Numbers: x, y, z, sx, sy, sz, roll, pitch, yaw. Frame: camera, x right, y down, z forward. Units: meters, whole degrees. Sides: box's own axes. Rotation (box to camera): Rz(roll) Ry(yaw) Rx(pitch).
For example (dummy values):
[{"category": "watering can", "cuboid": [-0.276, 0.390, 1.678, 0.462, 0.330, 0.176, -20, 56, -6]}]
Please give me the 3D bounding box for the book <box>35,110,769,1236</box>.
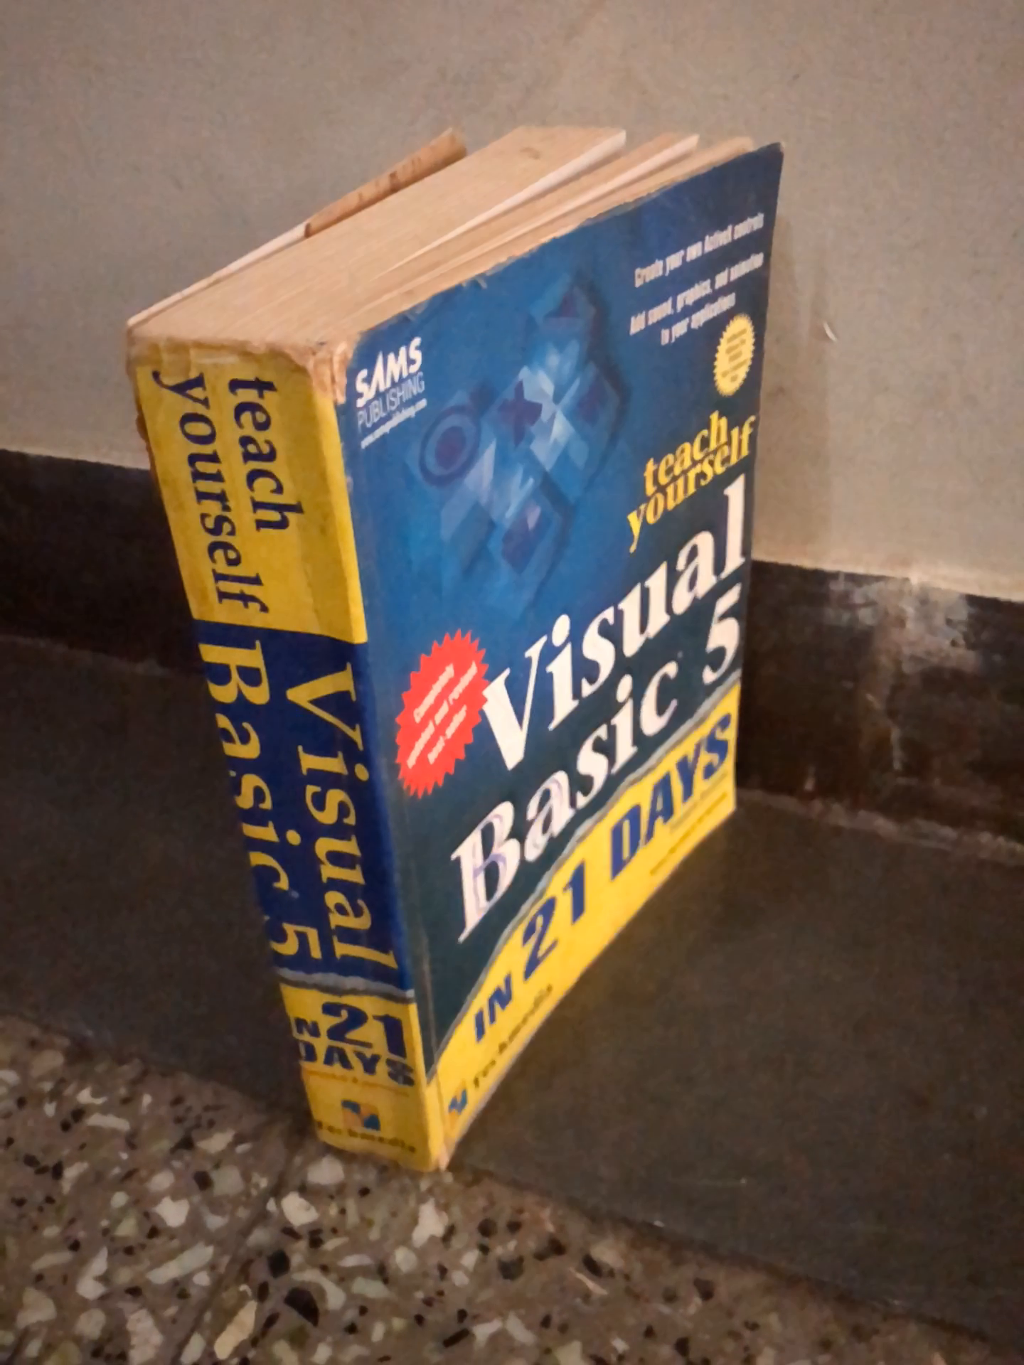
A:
[{"category": "book", "cuboid": [0.010, -0.023, 0.341, 0.060, 0.229, 0.251, 11, 36, 25]}]
